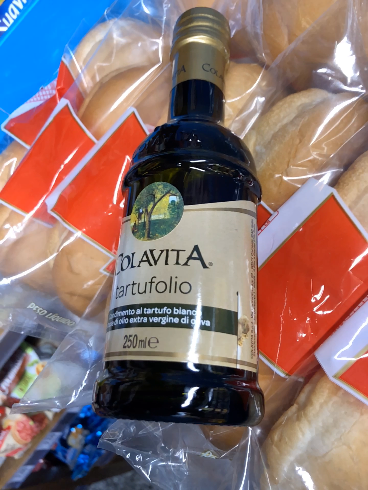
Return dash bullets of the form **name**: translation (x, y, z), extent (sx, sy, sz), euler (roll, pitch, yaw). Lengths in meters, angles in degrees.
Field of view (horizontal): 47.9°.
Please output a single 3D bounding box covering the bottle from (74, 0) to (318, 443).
- **bottle**: translation (0.008, -0.033, 0.186), extent (0.070, 0.060, 0.210), euler (-10, 69, 28)
